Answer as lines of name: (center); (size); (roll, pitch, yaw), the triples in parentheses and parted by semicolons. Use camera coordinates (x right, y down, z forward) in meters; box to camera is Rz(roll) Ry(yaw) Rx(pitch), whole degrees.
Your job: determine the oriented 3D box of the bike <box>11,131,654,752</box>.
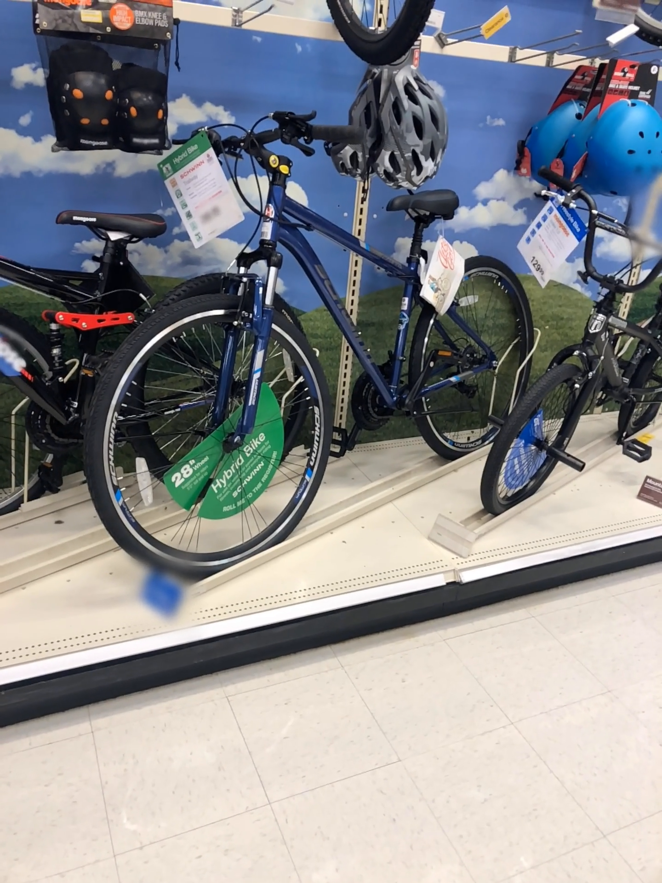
bike: (0.136, -0.218, 1.993); (0.531, 1.098, 1.742); (26, 34, 37)
